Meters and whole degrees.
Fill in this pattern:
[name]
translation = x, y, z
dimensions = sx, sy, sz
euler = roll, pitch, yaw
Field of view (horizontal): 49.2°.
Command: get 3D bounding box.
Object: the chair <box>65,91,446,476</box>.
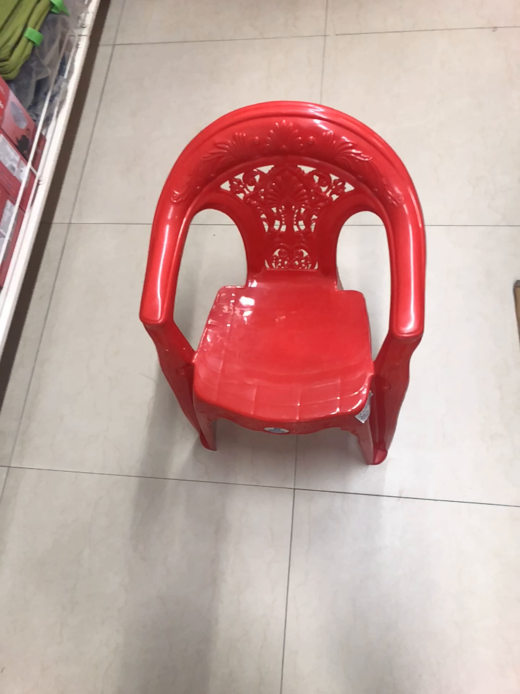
[chair]
translation = 0.038, -0.048, 0.874
dimensions = 0.390, 0.508, 0.371
euler = 3, 69, 9
